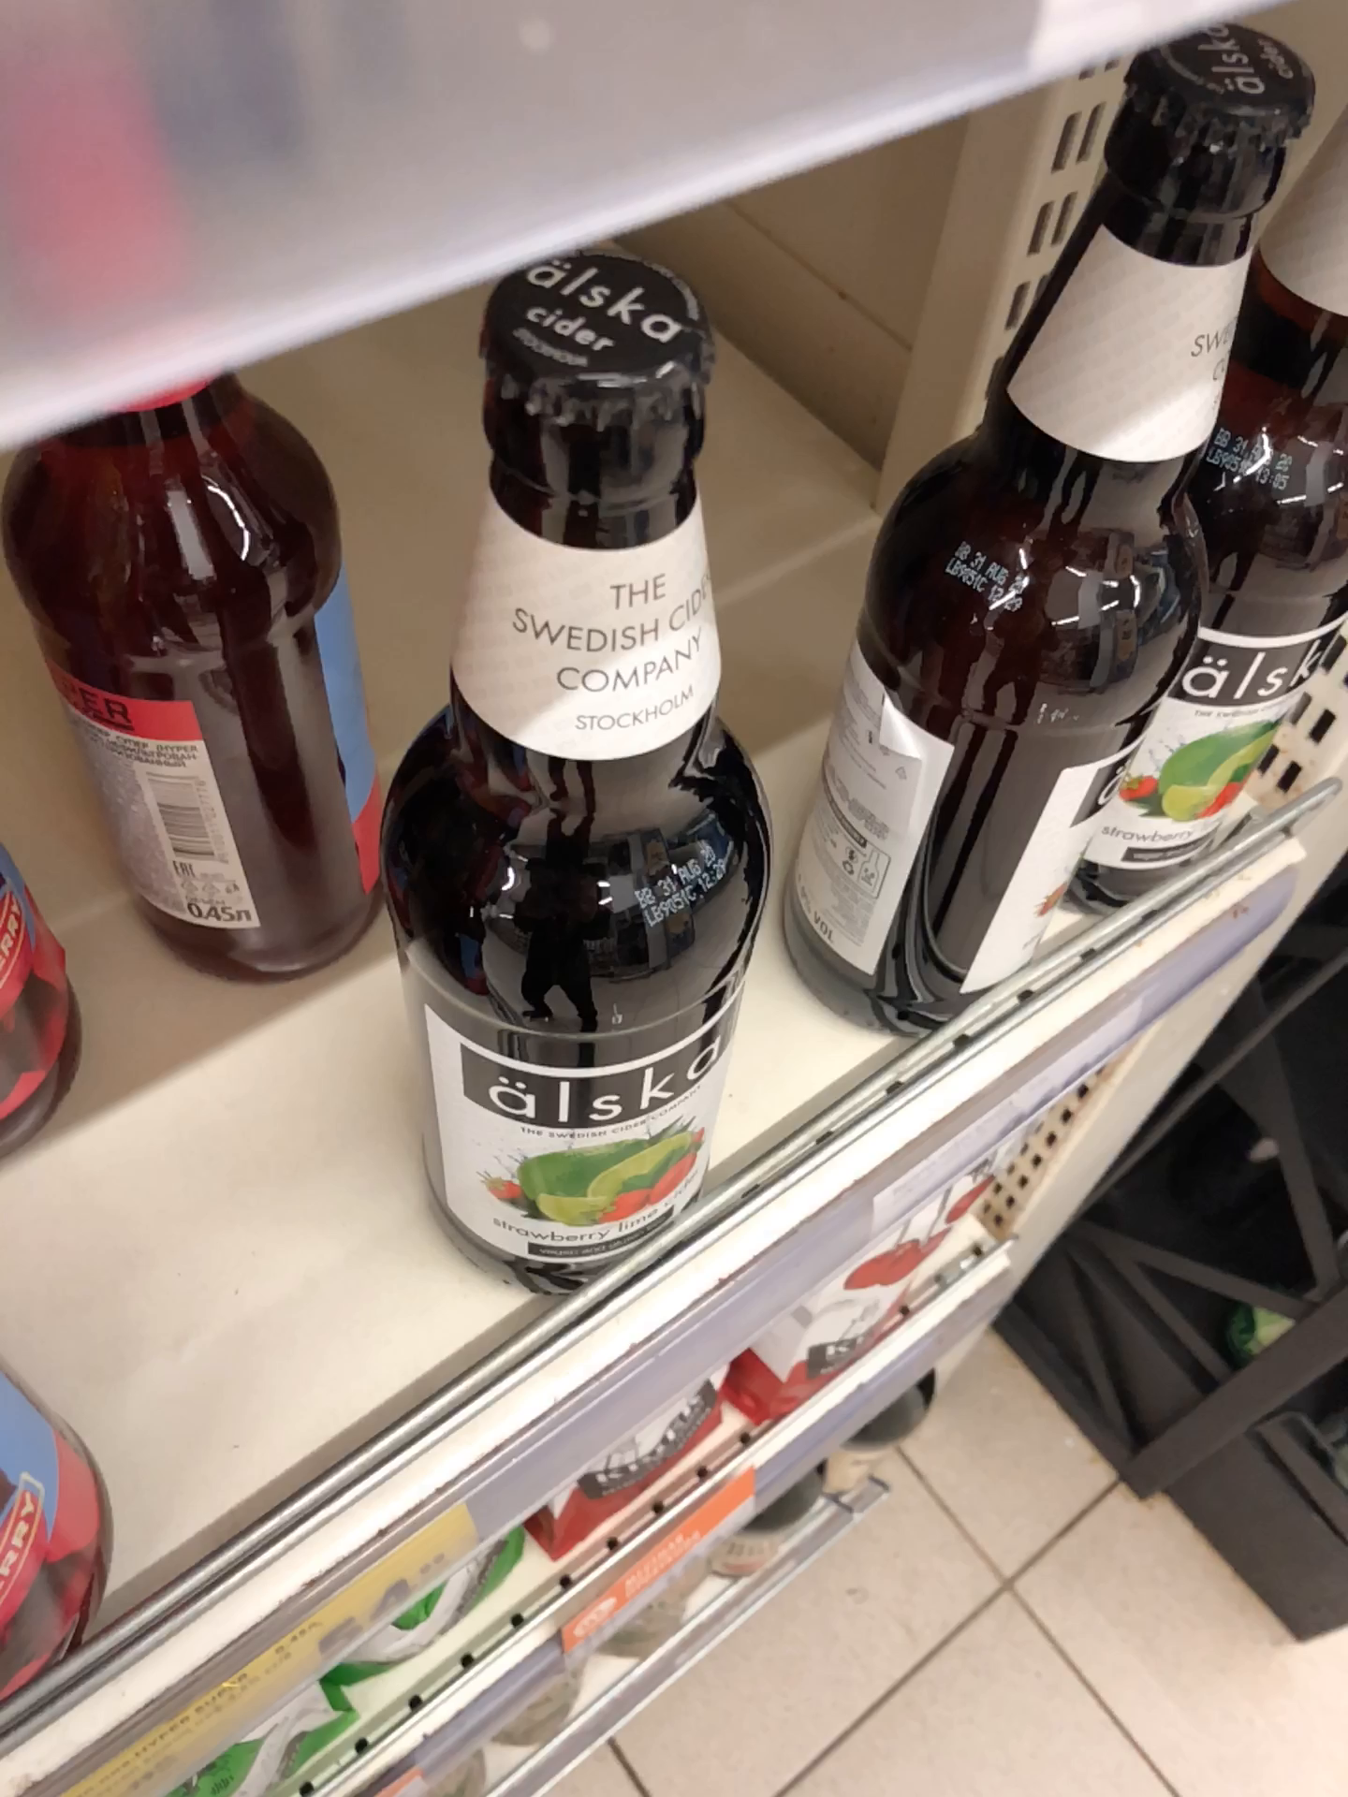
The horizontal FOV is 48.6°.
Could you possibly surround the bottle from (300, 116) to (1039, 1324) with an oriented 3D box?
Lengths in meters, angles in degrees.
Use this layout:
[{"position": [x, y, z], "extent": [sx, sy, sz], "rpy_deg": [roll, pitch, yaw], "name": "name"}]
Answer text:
[{"position": [-0.011, -0.004, 0.276], "extent": [0.070, 0.239, 0.070], "rpy_deg": [2, 55, -3], "name": "bottle"}]
